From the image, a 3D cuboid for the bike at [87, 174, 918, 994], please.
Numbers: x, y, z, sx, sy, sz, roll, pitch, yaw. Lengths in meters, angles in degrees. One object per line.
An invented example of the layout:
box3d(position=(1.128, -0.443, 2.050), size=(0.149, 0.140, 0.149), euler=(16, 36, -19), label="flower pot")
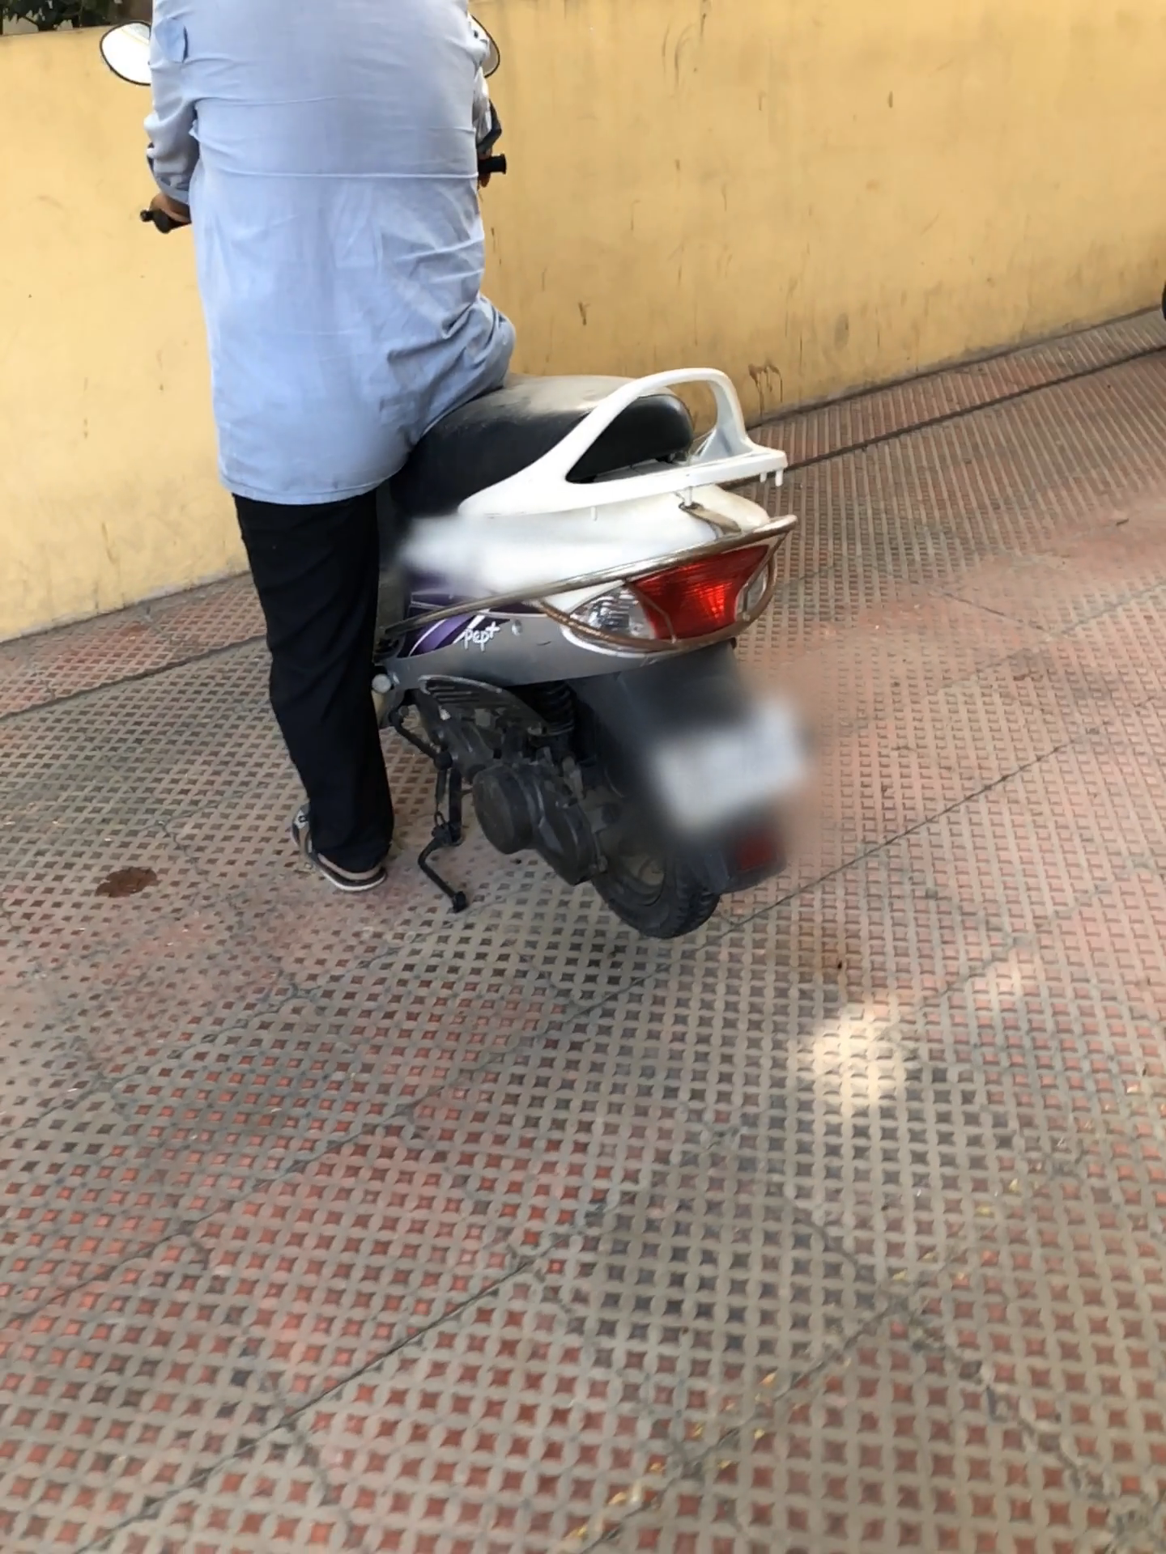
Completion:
box3d(position=(-0.261, -0.492, 2.165), size=(0.600, 0.816, 1.614), euler=(-20, 34, -24), label="bike")
